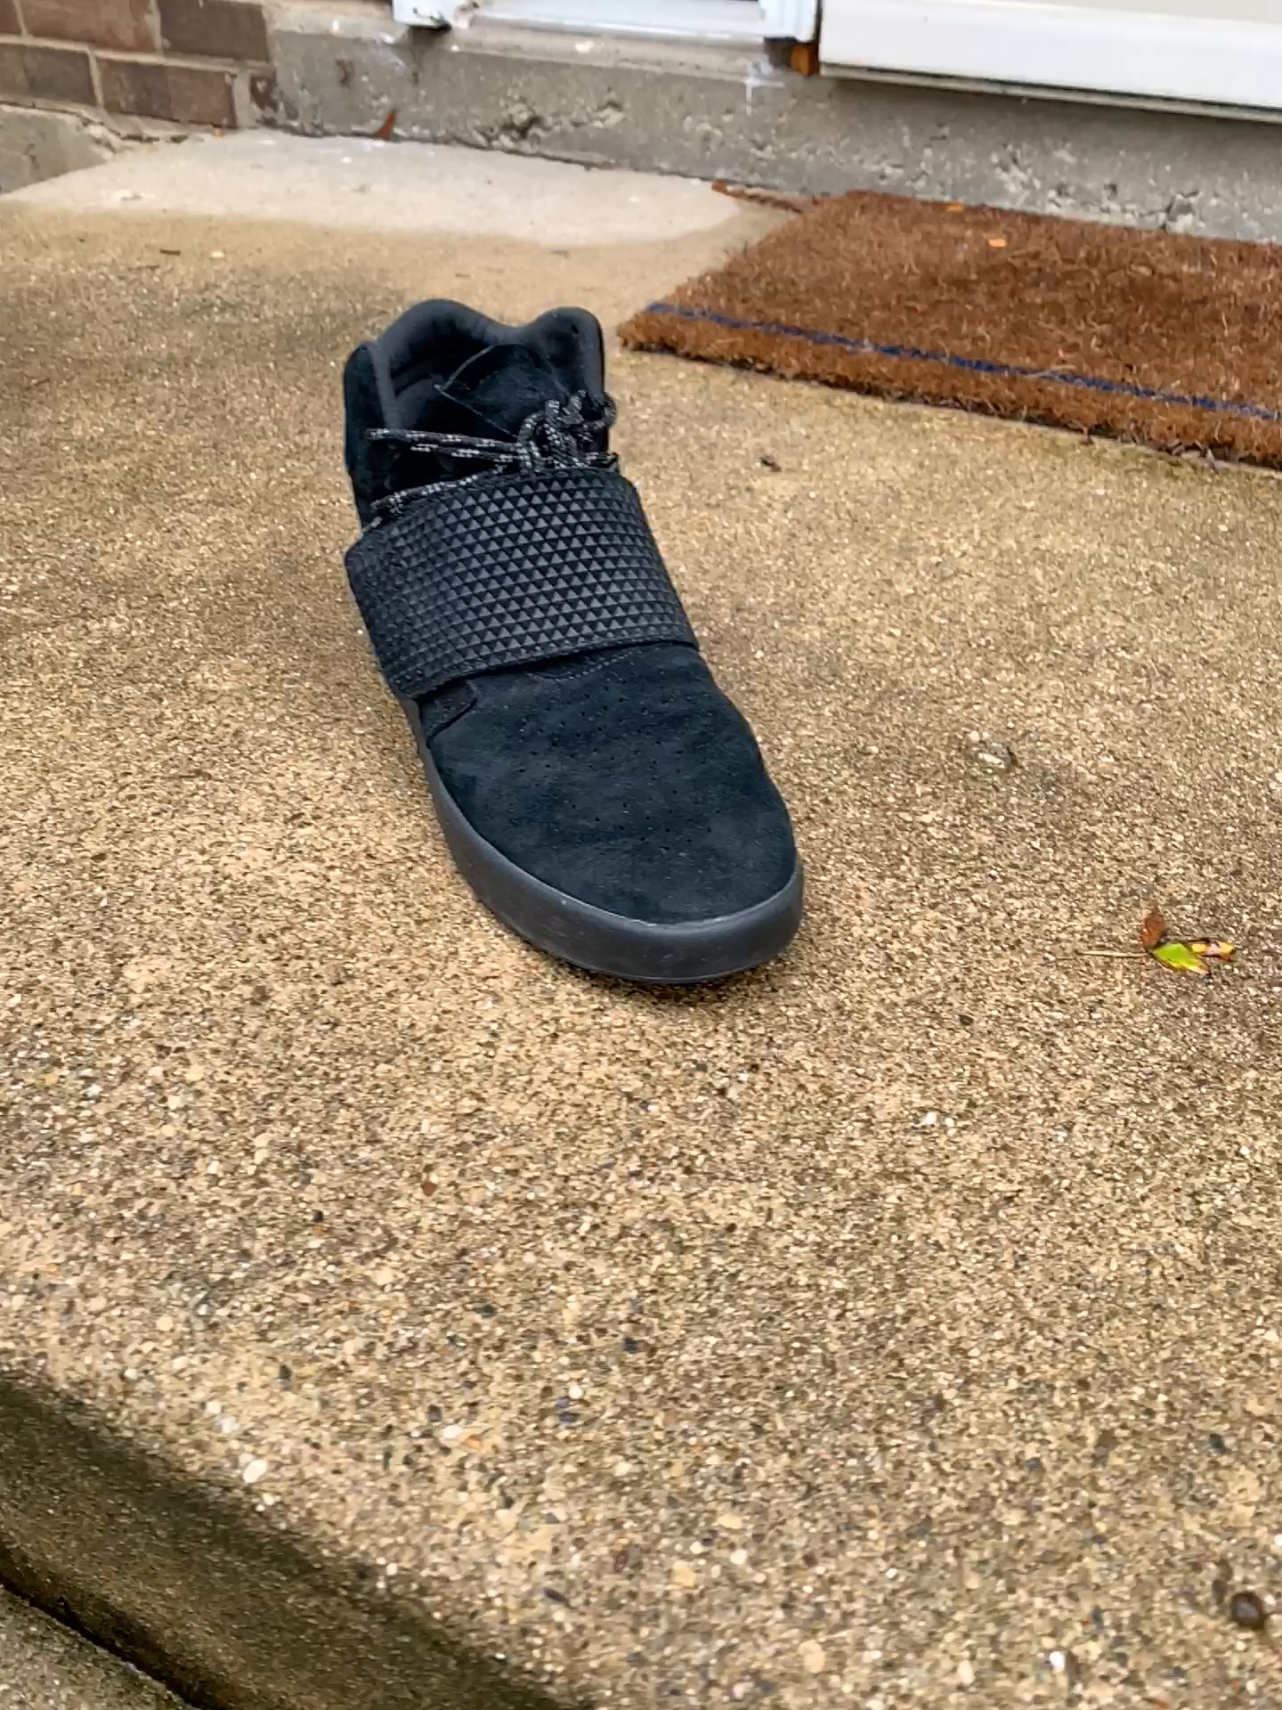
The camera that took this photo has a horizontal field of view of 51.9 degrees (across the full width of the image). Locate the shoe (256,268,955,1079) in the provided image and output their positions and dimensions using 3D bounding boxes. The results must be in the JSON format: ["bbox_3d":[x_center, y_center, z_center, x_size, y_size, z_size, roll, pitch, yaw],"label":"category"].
[{"bbox_3d":[-0.036,-0.088,0.461,0.119,0.141,0.292,-14,41,-20],"label":"shoe"}]
